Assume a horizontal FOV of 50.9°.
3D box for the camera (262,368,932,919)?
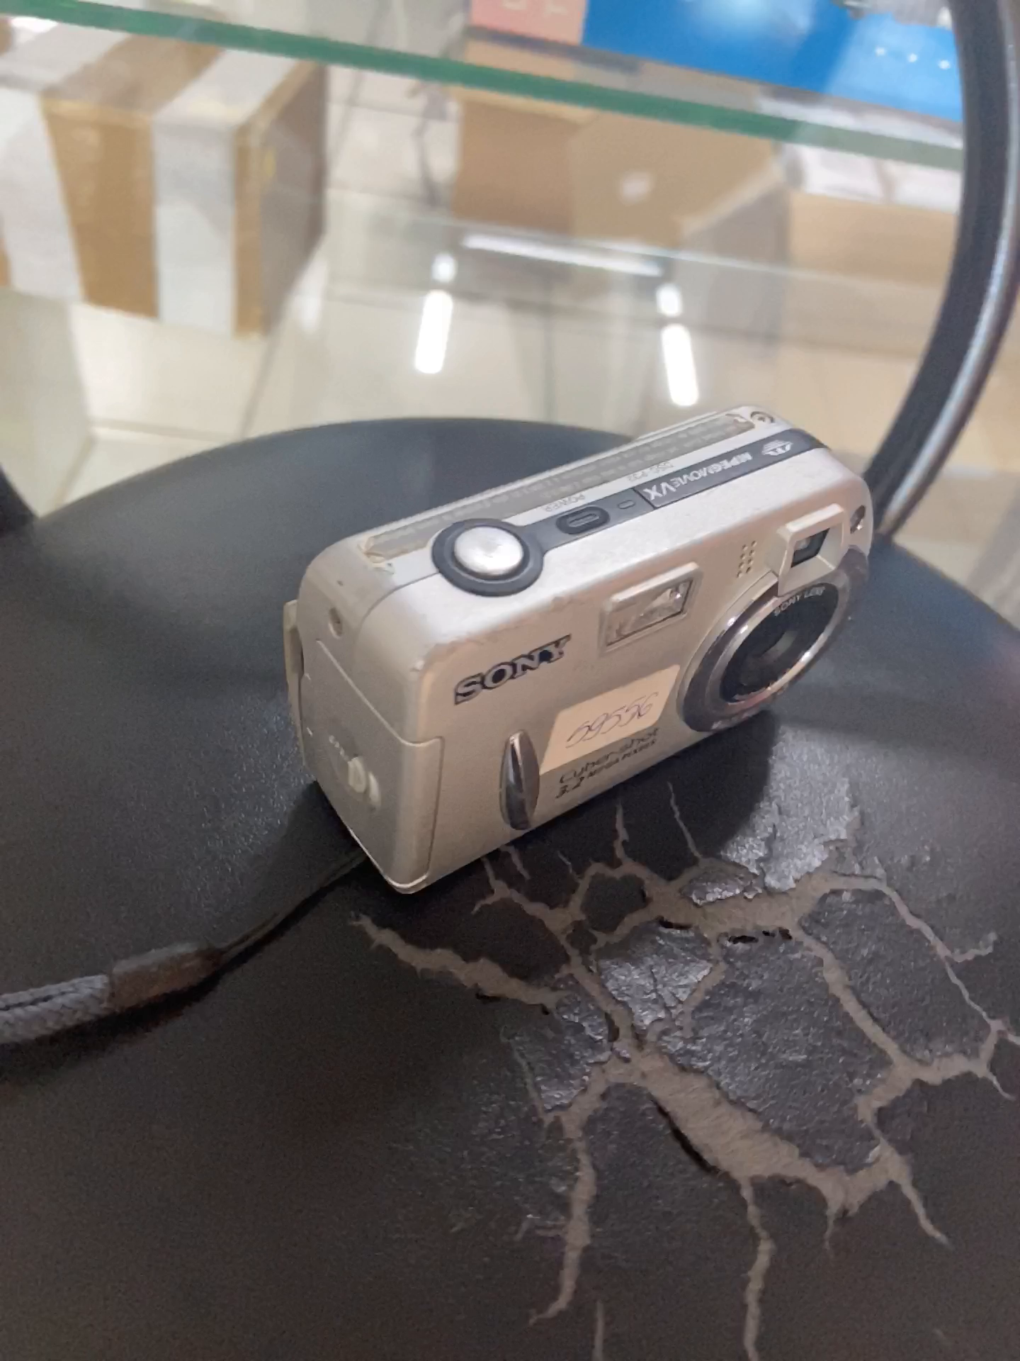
[{"bbox_3d":[0.014,-0.010,0.181,0.100,0.050,0.040,-23,55,-28],"label":"camera"}]
